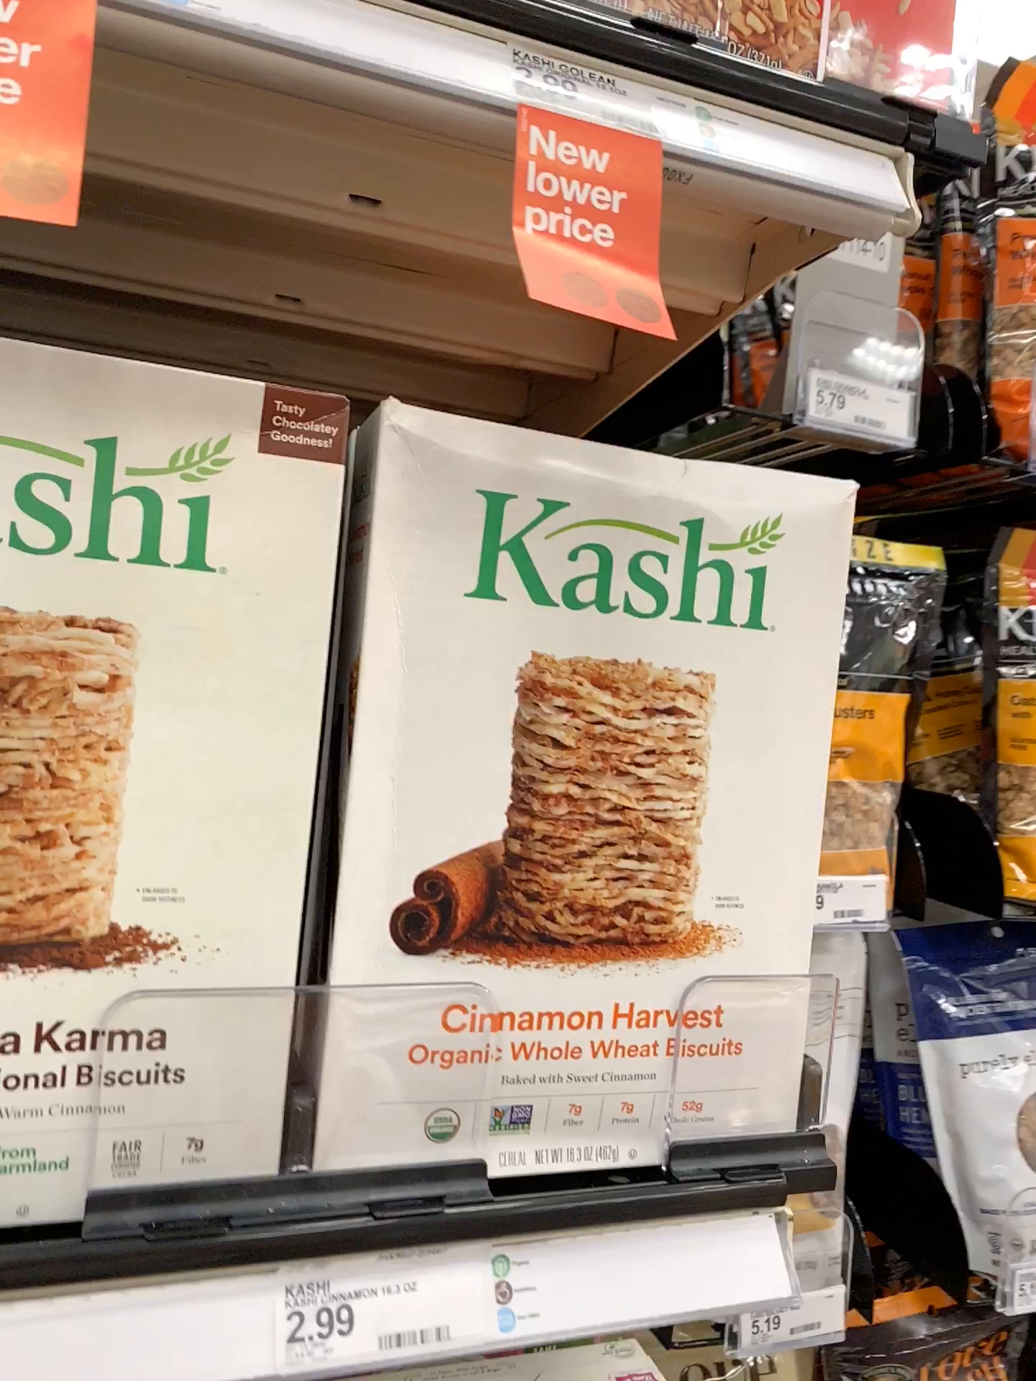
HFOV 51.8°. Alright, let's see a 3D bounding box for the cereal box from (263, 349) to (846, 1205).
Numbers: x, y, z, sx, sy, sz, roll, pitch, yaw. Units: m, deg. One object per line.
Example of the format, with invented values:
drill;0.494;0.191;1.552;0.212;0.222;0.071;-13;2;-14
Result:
cereal box;0.014;0.034;0.413;0.190;0.280;0.070;5;0;-20
